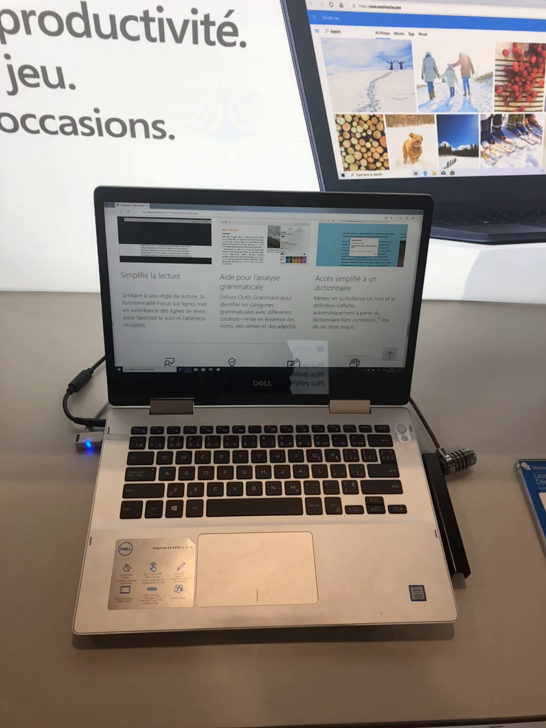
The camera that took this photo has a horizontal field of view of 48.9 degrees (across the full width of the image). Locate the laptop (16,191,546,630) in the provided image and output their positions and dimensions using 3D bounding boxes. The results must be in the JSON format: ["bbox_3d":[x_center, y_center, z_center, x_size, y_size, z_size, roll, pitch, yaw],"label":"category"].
[{"bbox_3d":[-0.004,0.027,0.539,0.316,0.193,0.338,0,49,-4],"label":"laptop"}]
